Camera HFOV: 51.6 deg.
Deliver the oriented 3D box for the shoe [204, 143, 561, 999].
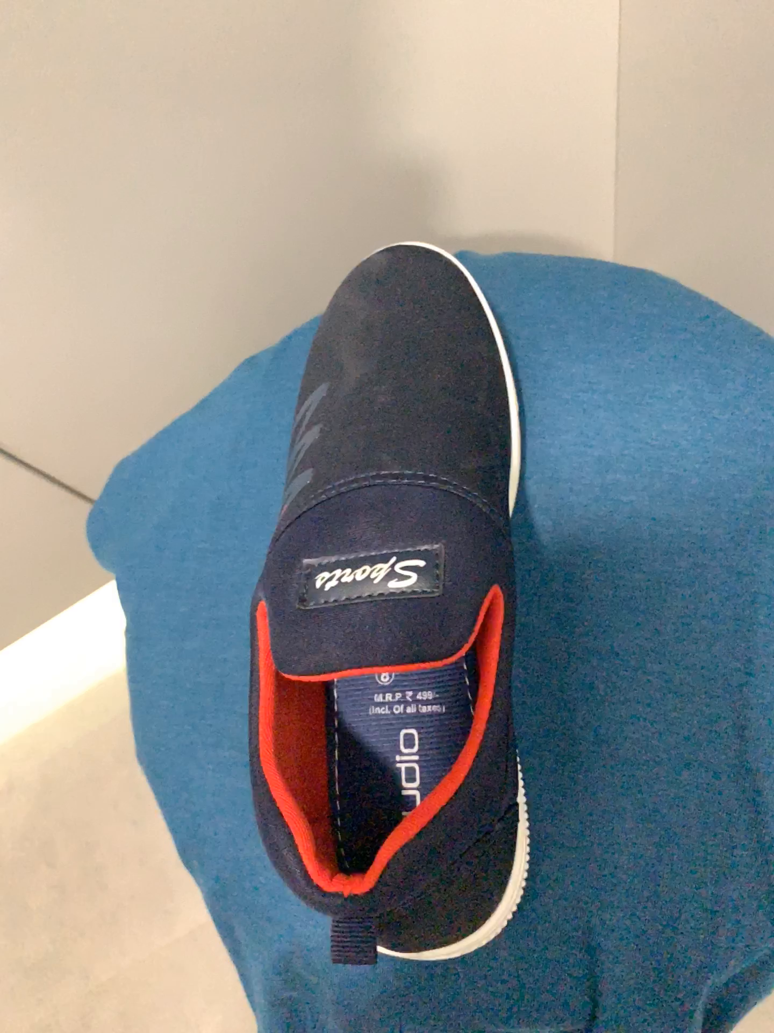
[{"bbox_3d":[0.002,0.014,0.292,0.090,0.100,0.260,-6,71,13],"label":"shoe"}]
